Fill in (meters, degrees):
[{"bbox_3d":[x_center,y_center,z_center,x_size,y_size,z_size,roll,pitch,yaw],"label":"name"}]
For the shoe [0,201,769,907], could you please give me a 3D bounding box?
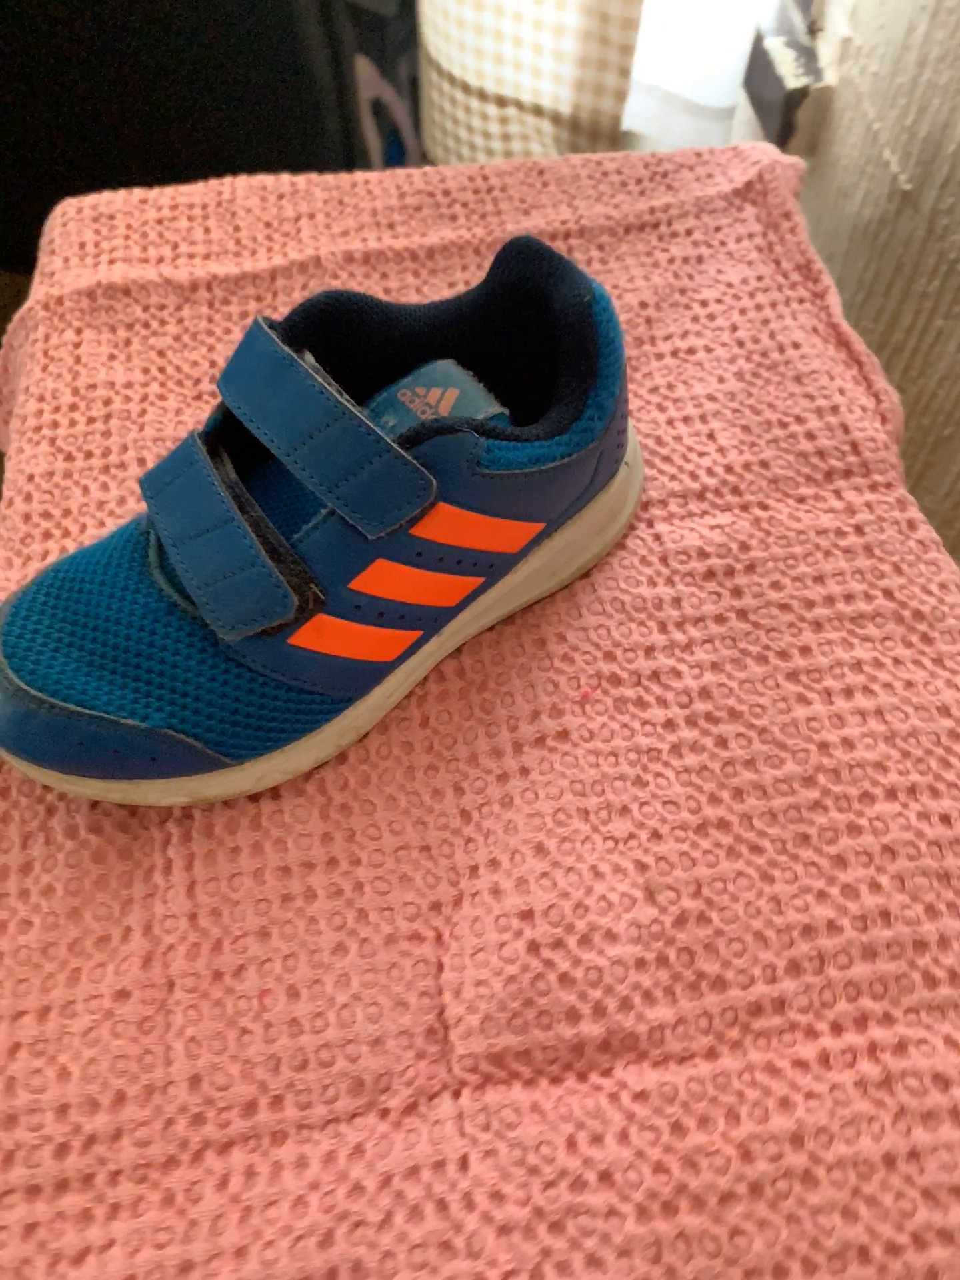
[{"bbox_3d":[-0.035,-0.030,0.277,0.208,0.075,0.084,-30,63,-16],"label":"shoe"}]
